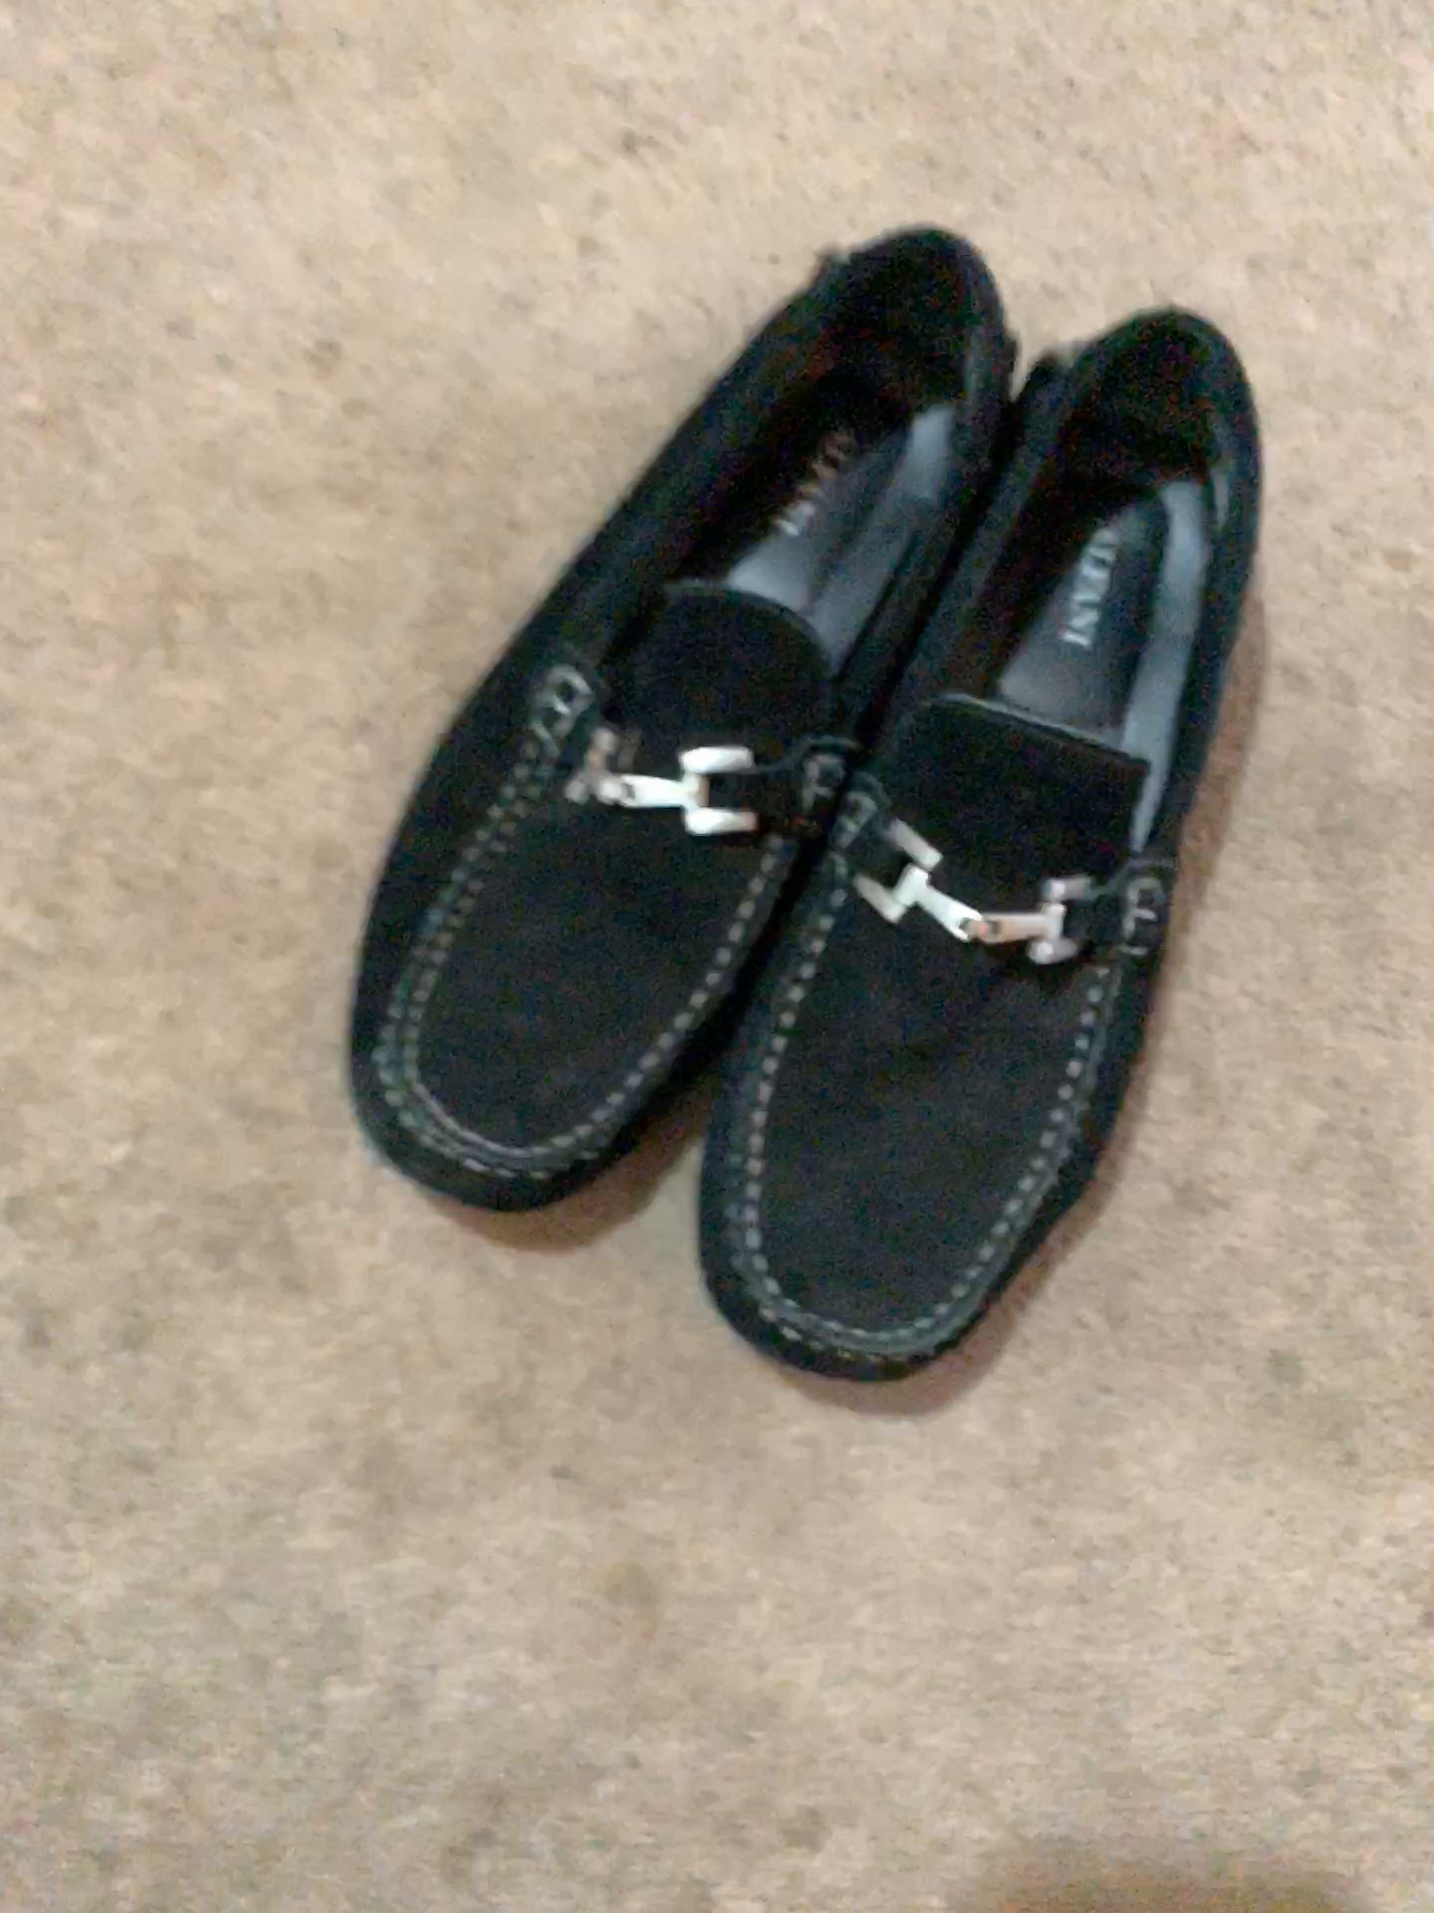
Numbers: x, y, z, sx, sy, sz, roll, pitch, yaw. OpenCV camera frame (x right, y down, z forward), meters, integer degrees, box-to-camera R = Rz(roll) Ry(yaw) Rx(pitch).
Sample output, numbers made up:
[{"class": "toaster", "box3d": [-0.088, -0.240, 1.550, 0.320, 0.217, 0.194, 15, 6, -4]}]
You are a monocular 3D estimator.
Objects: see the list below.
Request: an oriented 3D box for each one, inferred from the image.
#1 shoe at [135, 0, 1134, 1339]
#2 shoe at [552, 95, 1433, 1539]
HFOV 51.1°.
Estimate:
[{"class": "shoe", "box3d": [-0.008, -0.072, 0.378, 0.100, 0.100, 0.311, 23, 75, 5]}, {"class": "shoe", "box3d": [0.076, -0.038, 0.365, 0.100, 0.100, 0.311, 23, 75, 5]}]
